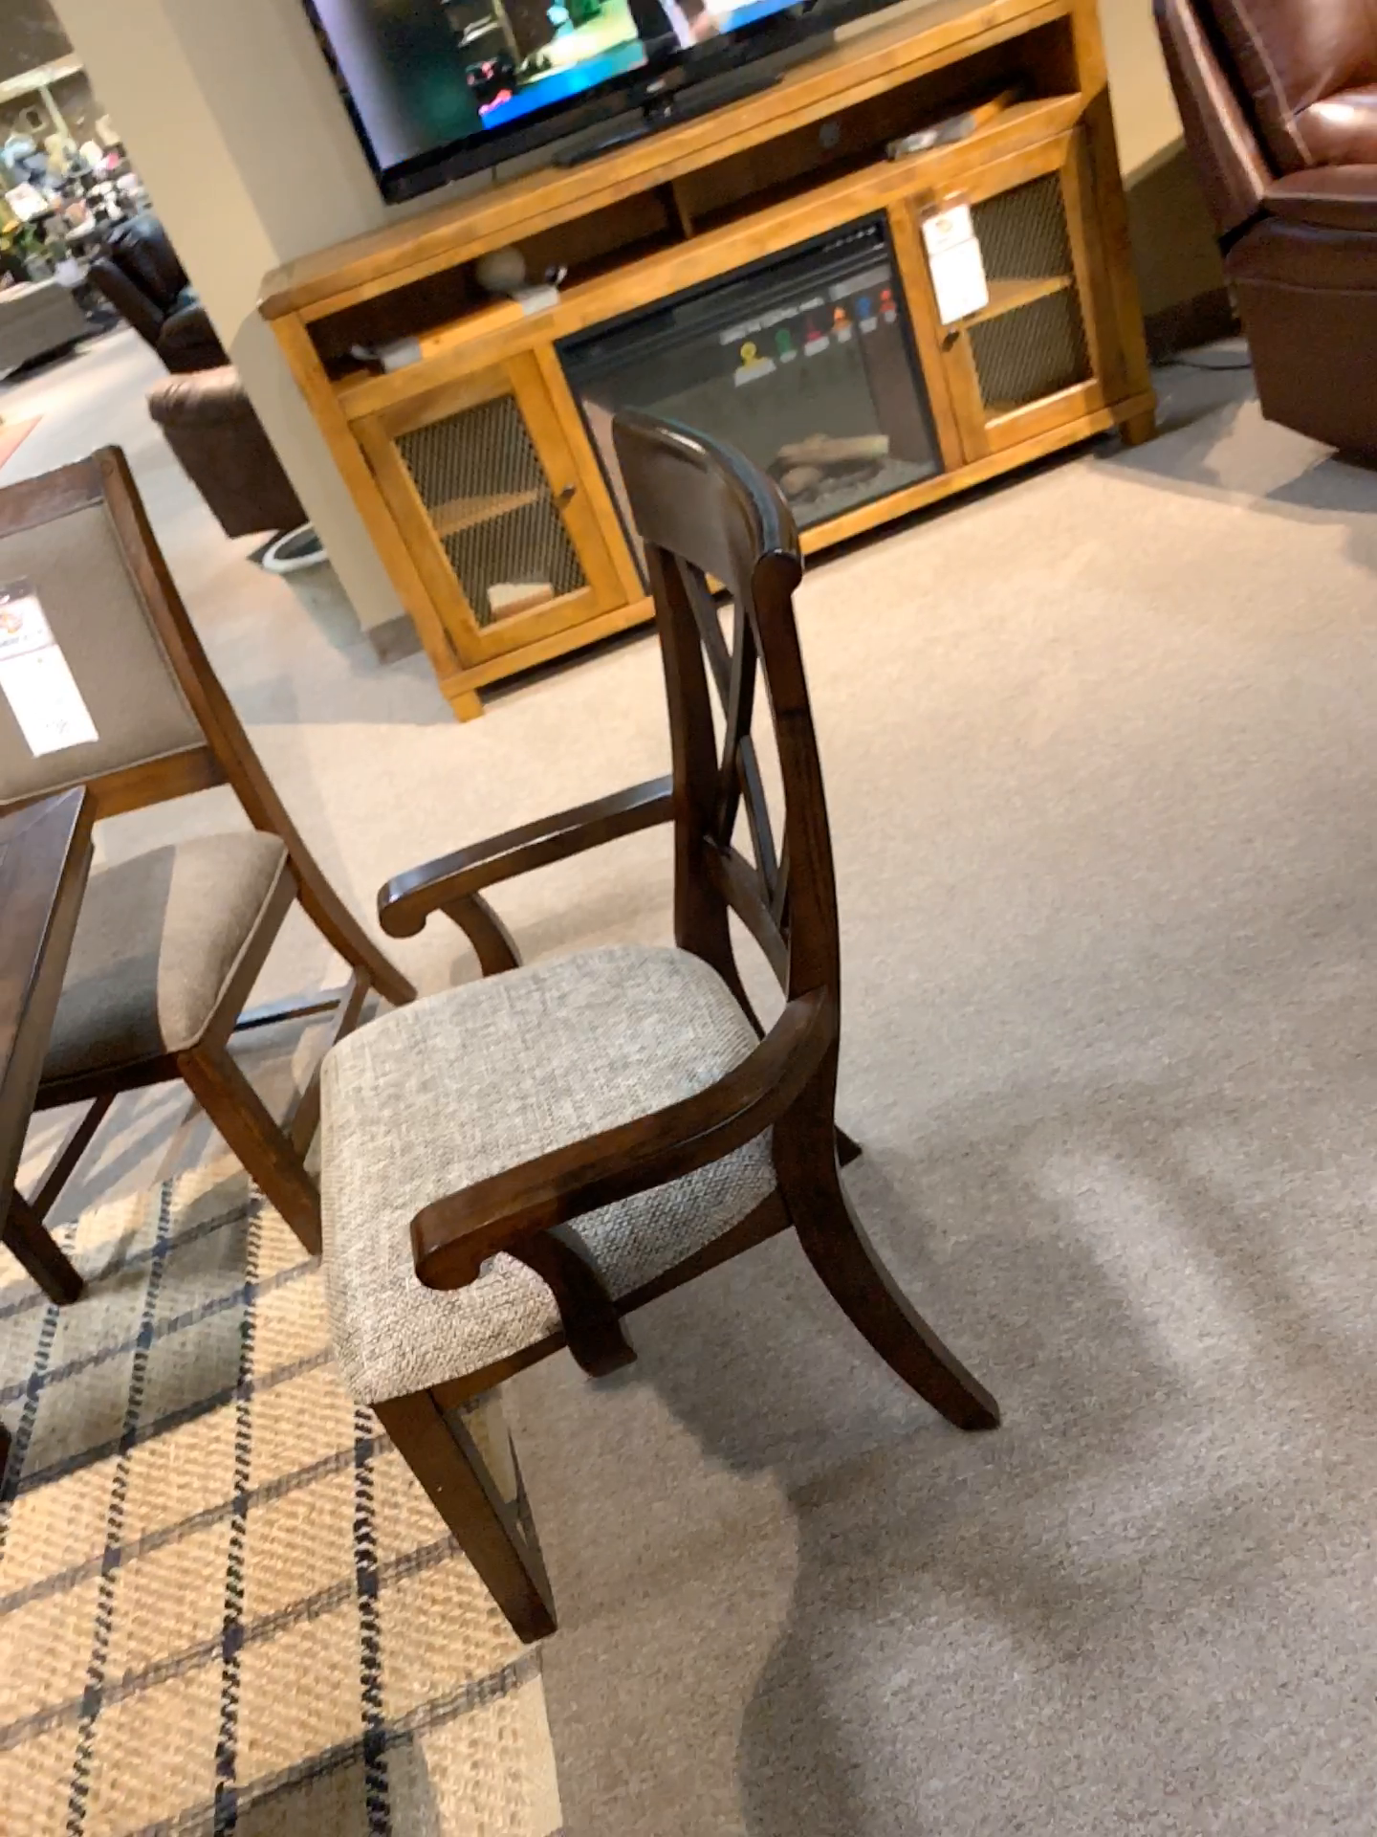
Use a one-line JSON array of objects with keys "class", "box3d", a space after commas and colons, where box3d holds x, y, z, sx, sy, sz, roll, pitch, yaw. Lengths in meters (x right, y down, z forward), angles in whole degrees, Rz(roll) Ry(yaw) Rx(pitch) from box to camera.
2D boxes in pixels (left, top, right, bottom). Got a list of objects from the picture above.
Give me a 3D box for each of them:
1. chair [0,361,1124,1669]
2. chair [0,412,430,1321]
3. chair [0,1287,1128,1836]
[{"class": "chair", "box3d": [-0.091, 0.097, 1.318, 0.654, 0.896, 0.548, -22, 33, 0]}, {"class": "chair", "box3d": [-0.818, -0.059, 1.916, 0.505, 0.936, 0.648, -15, 34, 10]}, {"class": "chair", "box3d": [-0.320, 0.759, 0.511, 0.505, 0.916, 0.648, -28, 34, -7]}]
